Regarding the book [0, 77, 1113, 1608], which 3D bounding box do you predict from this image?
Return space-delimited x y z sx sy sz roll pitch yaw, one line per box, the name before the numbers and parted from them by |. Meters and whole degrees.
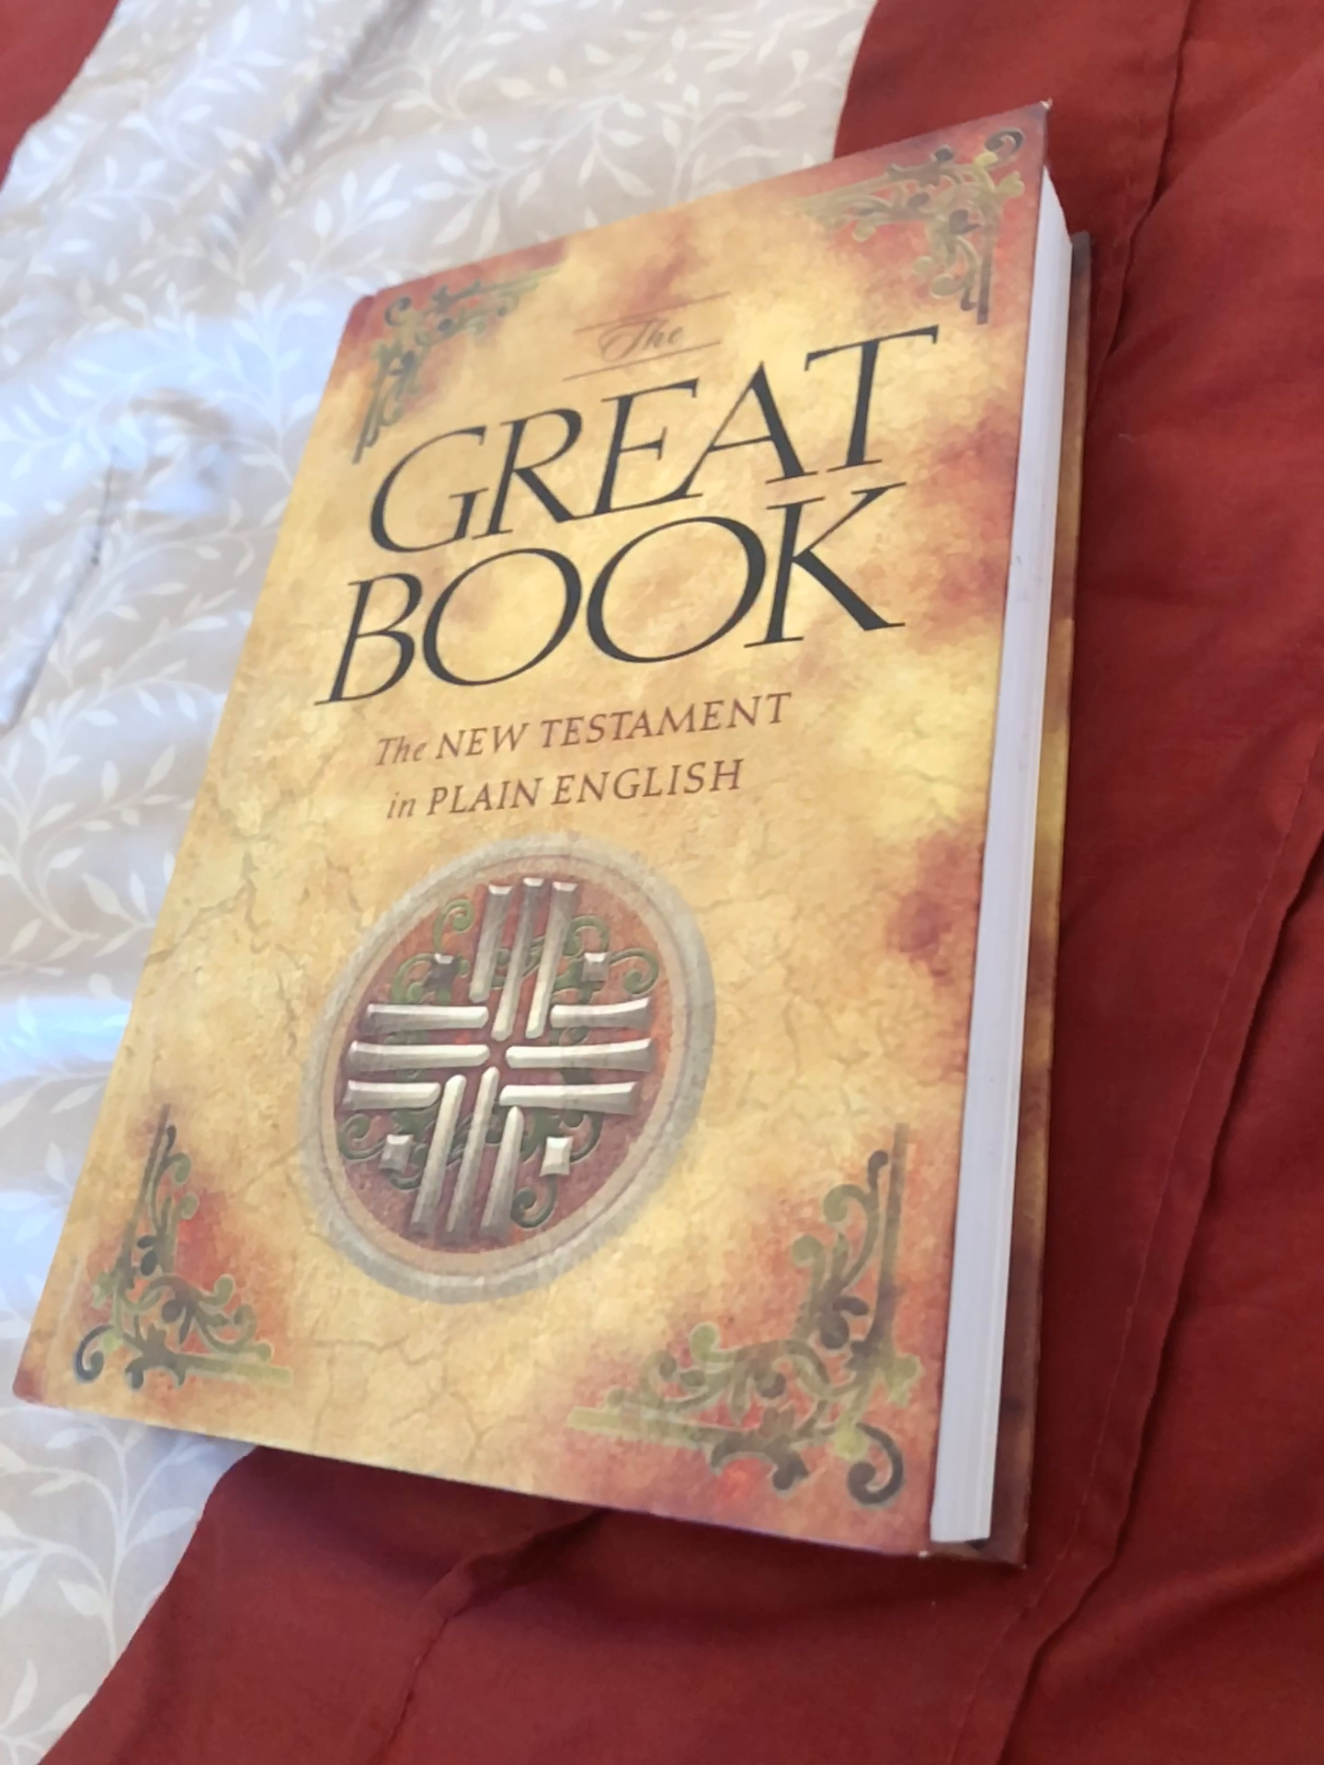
book | -0.015 -0.015 0.249 0.161 0.040 0.220 -3 65 30
